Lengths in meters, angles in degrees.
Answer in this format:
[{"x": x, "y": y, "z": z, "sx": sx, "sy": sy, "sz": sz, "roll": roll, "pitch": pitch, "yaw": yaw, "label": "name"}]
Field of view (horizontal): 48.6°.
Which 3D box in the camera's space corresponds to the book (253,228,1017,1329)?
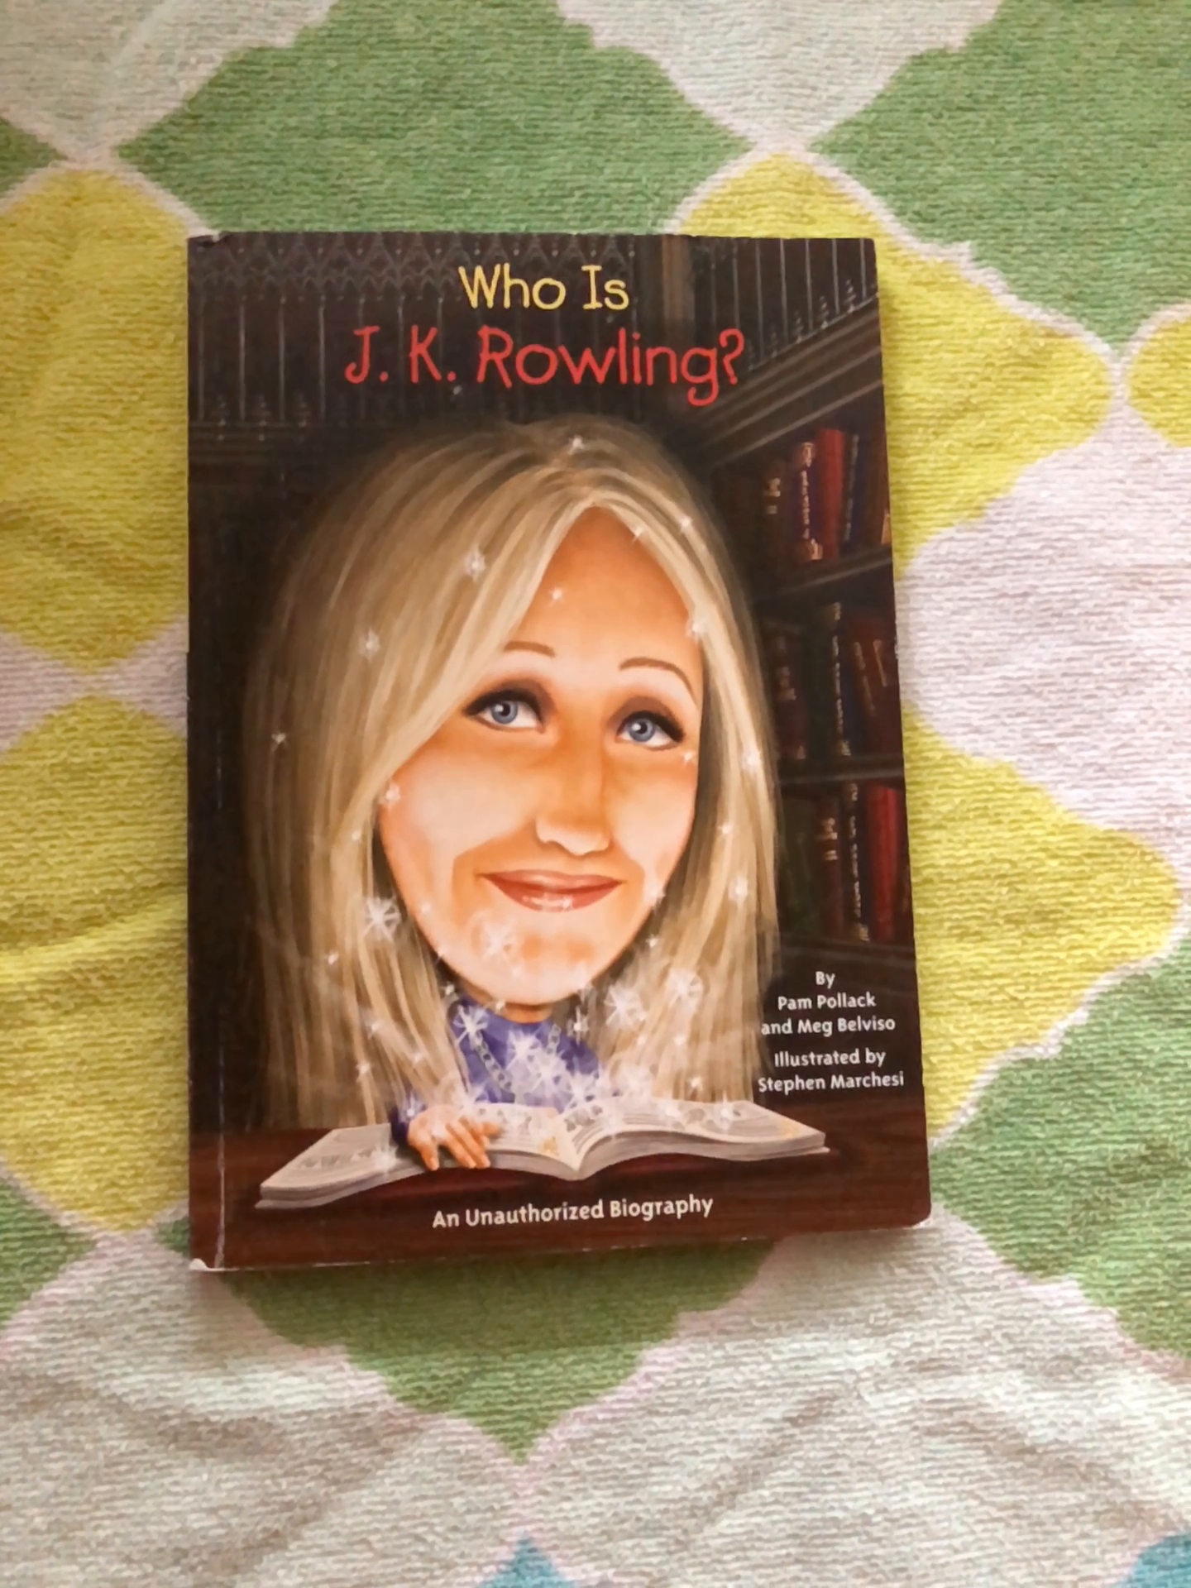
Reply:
[{"x": 0.005, "y": -0.008, "z": 0.233, "sx": 0.126, "sy": 0.012, "sz": 0.187, "roll": -1, "pitch": 84, "yaw": -5, "label": "book"}]
